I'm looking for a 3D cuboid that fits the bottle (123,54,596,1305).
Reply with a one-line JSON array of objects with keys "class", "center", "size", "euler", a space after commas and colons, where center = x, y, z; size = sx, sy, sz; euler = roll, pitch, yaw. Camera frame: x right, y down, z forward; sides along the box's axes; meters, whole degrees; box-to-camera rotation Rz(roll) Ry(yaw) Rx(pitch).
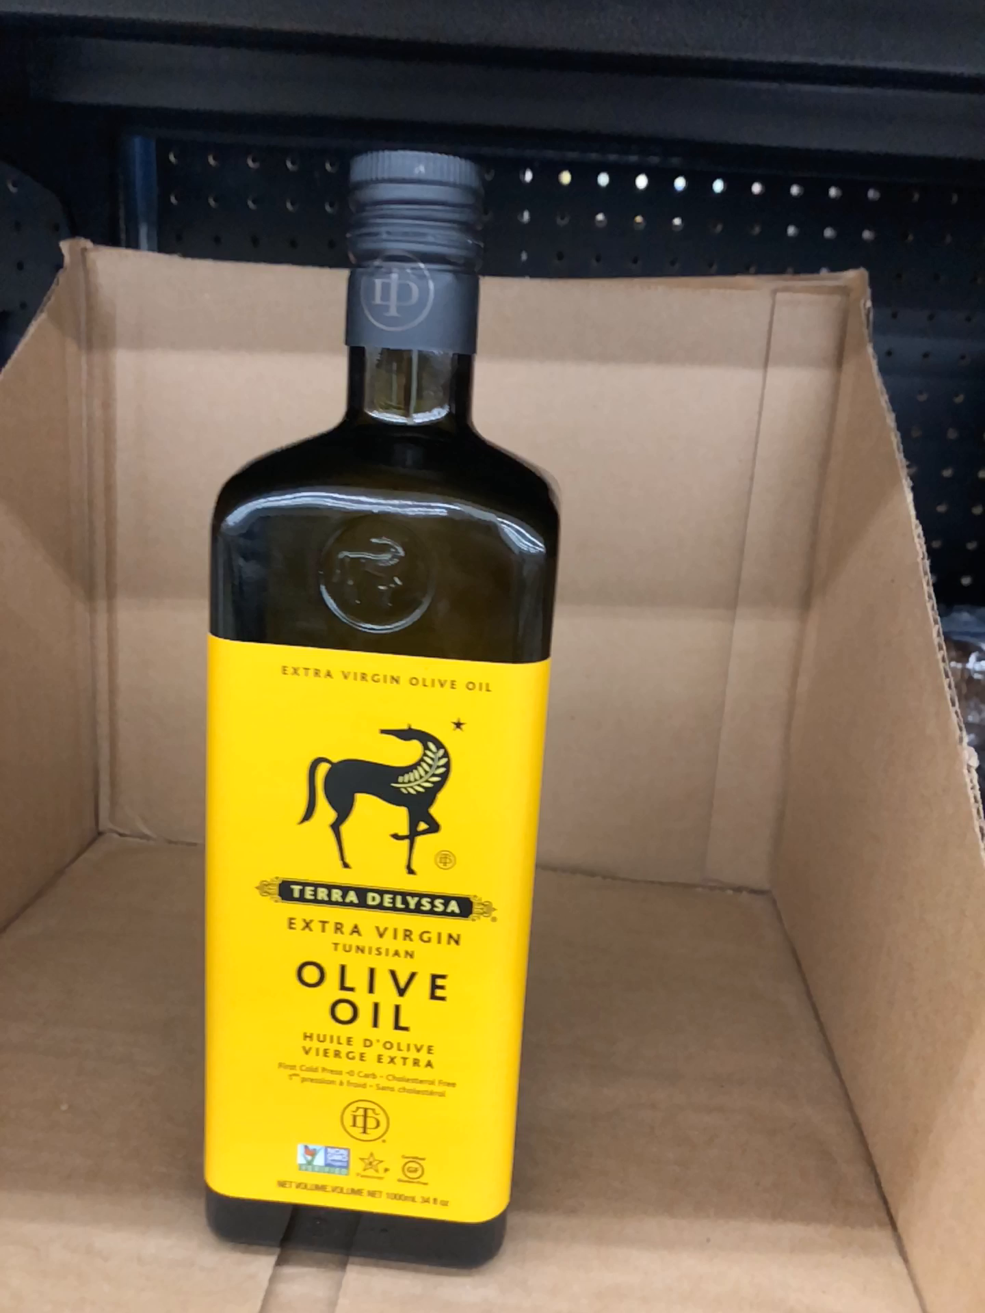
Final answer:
[{"class": "bottle", "center": [-0.029, 0.013, 0.289], "size": [0.090, 0.288, 0.090], "euler": [3, 16, -1]}]
